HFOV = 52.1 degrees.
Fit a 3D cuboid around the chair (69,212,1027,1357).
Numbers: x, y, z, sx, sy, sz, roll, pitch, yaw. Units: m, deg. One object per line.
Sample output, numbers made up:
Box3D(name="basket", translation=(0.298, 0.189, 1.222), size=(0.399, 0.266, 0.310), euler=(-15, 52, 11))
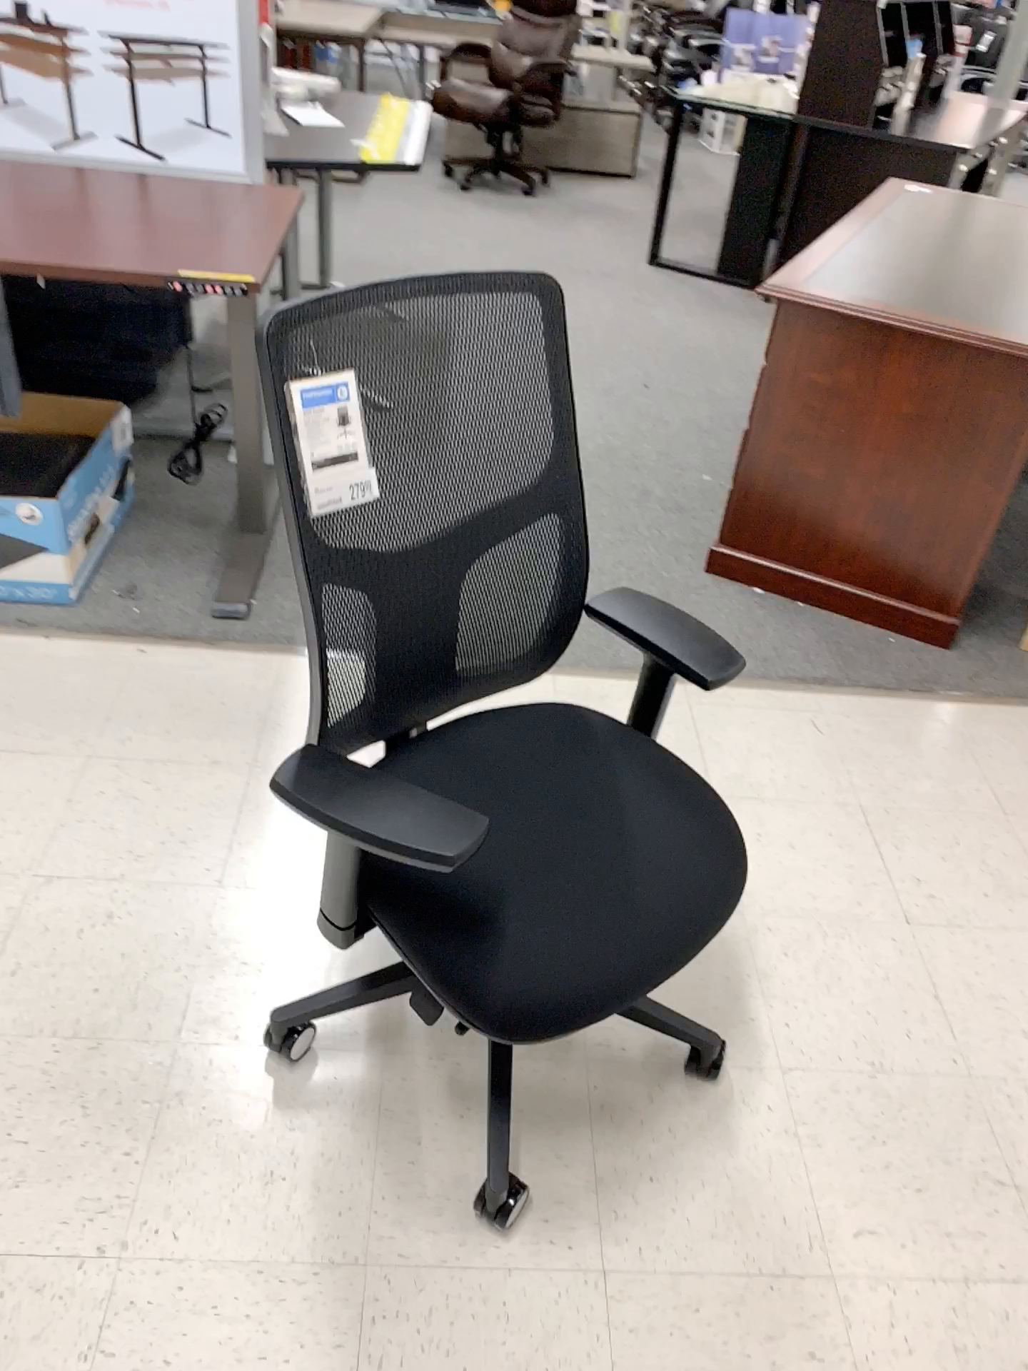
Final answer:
Box3D(name="chair", translation=(0.025, 0.062, 1.307), size=(0.702, 0.994, 0.732), euler=(-25, 47, -36))
